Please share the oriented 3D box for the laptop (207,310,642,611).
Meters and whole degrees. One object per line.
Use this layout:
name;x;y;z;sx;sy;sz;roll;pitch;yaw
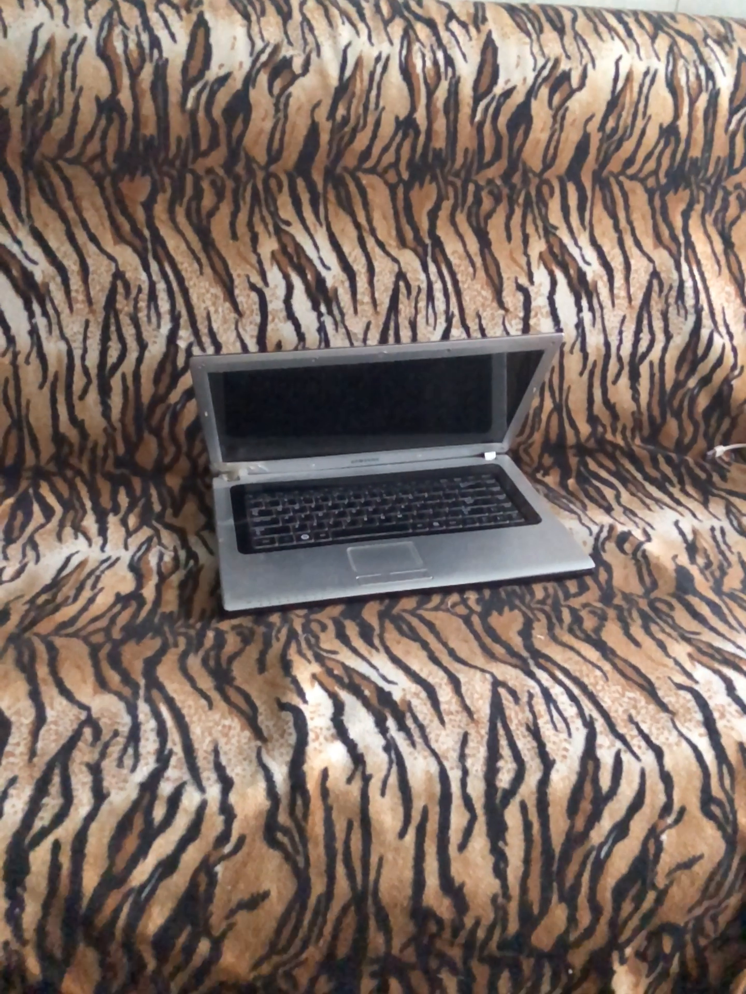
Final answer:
laptop;0.024;-0.052;0.803;0.350;0.179;0.239;-5;32;-12
